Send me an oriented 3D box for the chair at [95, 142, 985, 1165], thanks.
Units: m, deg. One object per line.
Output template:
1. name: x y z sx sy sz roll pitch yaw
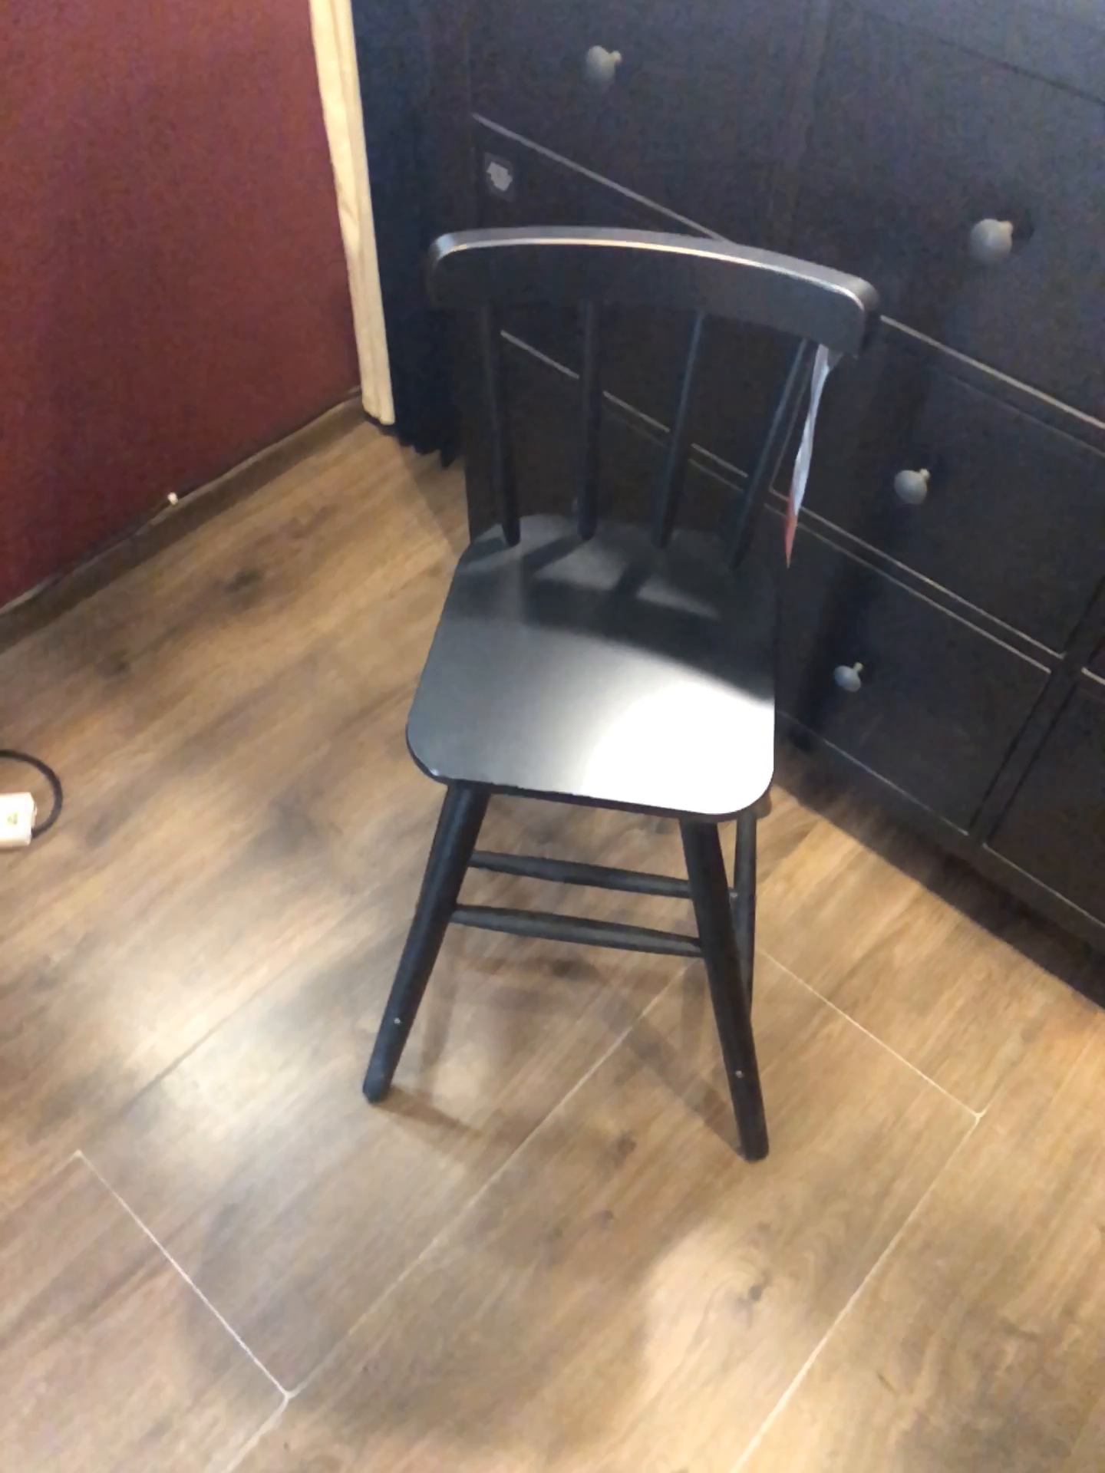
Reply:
1. chair: 0.019 -0.016 1.033 0.450 0.716 0.472 7 54 5
